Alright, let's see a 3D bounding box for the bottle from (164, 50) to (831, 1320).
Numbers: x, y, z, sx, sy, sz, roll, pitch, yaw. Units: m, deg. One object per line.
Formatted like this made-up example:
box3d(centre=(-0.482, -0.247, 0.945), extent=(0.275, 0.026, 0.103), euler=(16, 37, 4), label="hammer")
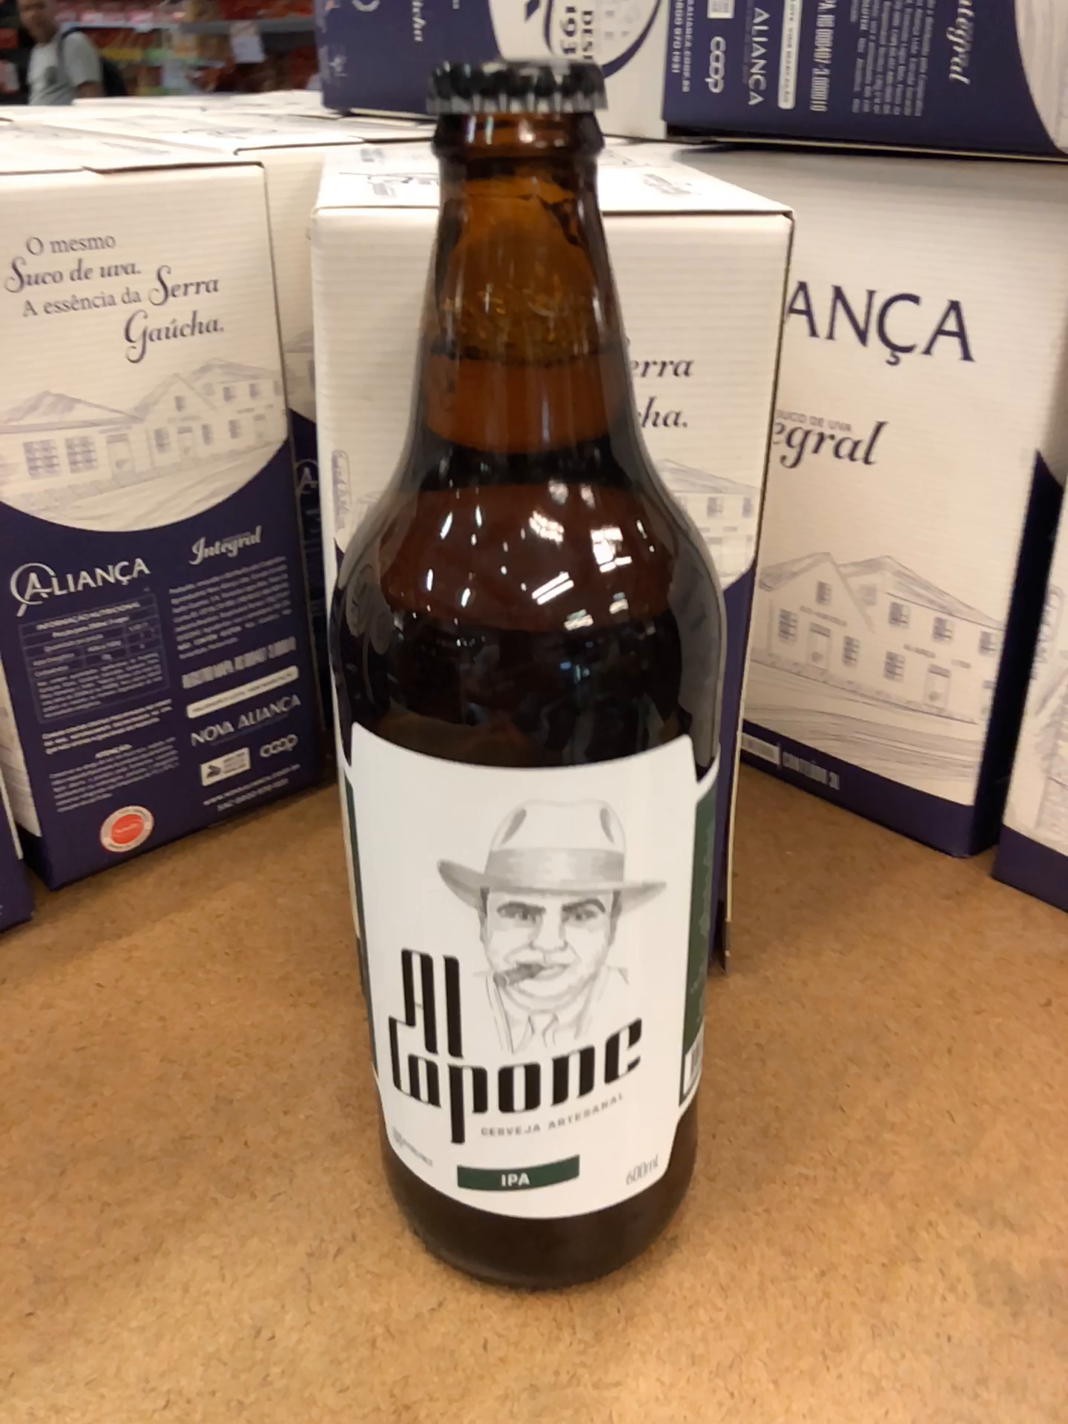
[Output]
box3d(centre=(-0.002, 0.006, 0.225), extent=(0.080, 0.228, 0.070), euler=(2, 28, 5), label="bottle")
